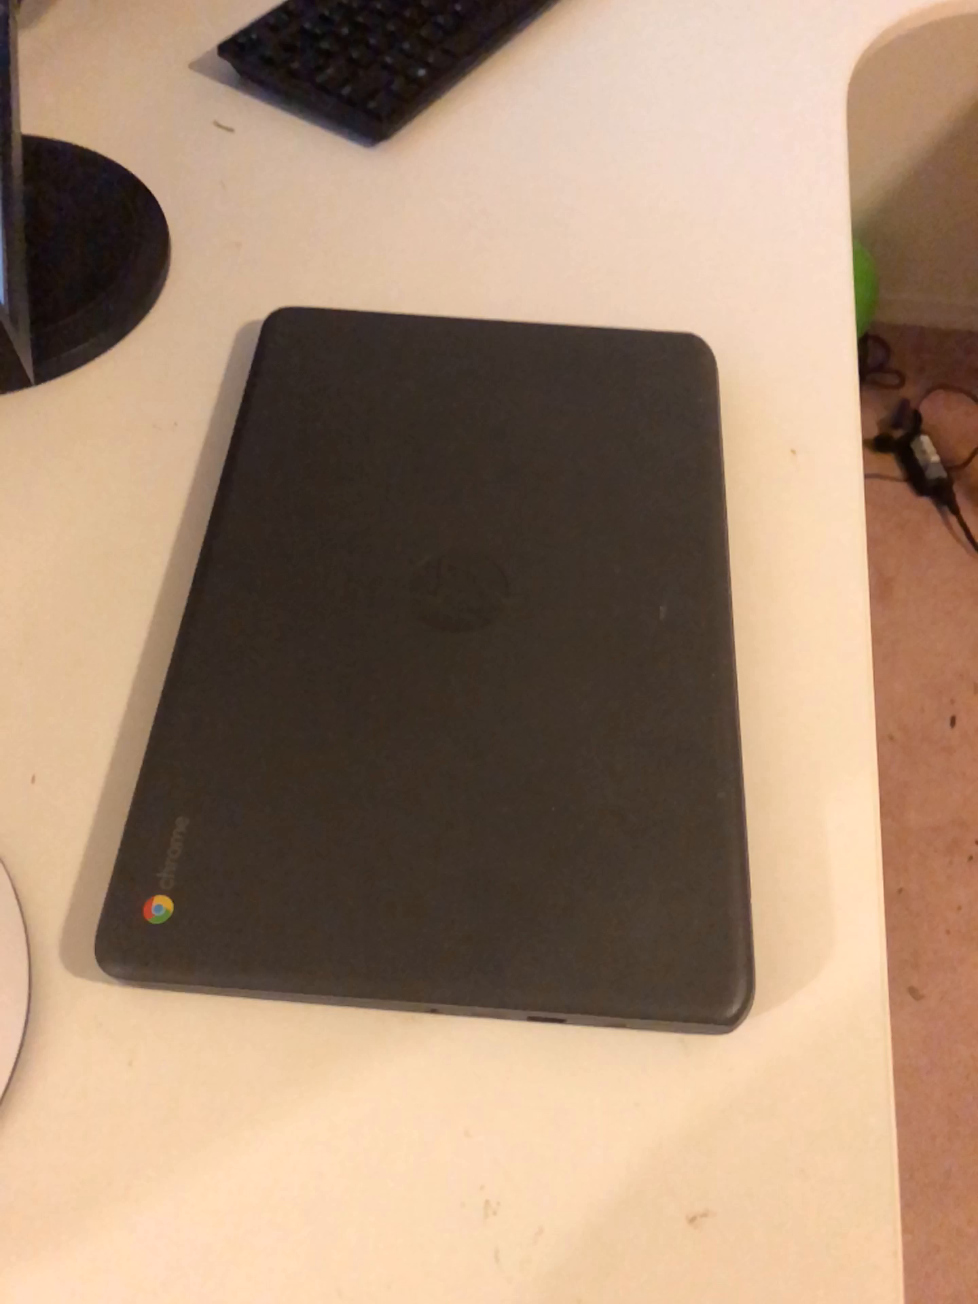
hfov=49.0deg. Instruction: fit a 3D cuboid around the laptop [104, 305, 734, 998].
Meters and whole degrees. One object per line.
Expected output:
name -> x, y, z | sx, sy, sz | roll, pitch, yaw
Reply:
laptop -> -0.013, -0.029, 0.443 | 0.208, 0.001, 0.327 | 4, 57, 0
